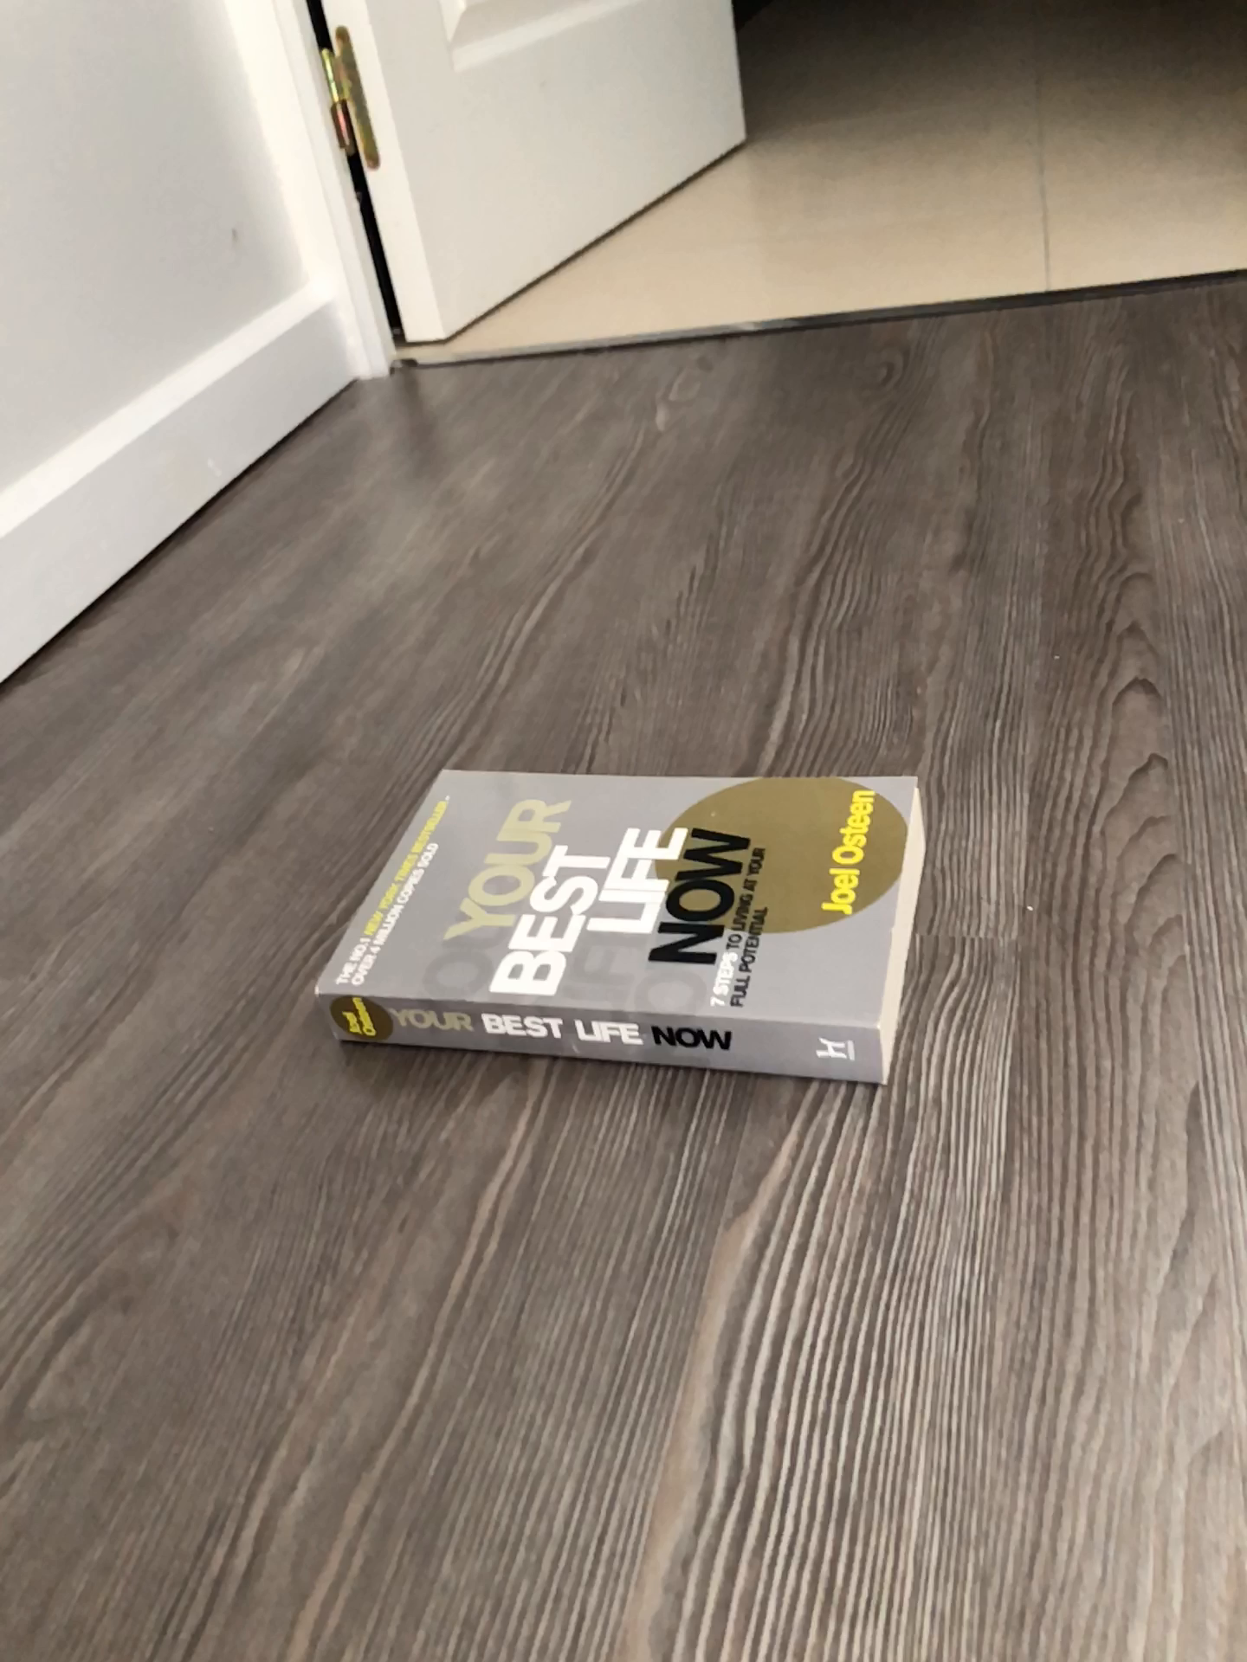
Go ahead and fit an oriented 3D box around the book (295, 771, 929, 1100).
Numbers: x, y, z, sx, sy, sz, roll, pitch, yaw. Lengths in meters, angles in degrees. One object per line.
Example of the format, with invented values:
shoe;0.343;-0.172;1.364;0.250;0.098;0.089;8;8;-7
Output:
book;0.003;0.029;0.503;0.201;0.030;0.137;1;36;17
